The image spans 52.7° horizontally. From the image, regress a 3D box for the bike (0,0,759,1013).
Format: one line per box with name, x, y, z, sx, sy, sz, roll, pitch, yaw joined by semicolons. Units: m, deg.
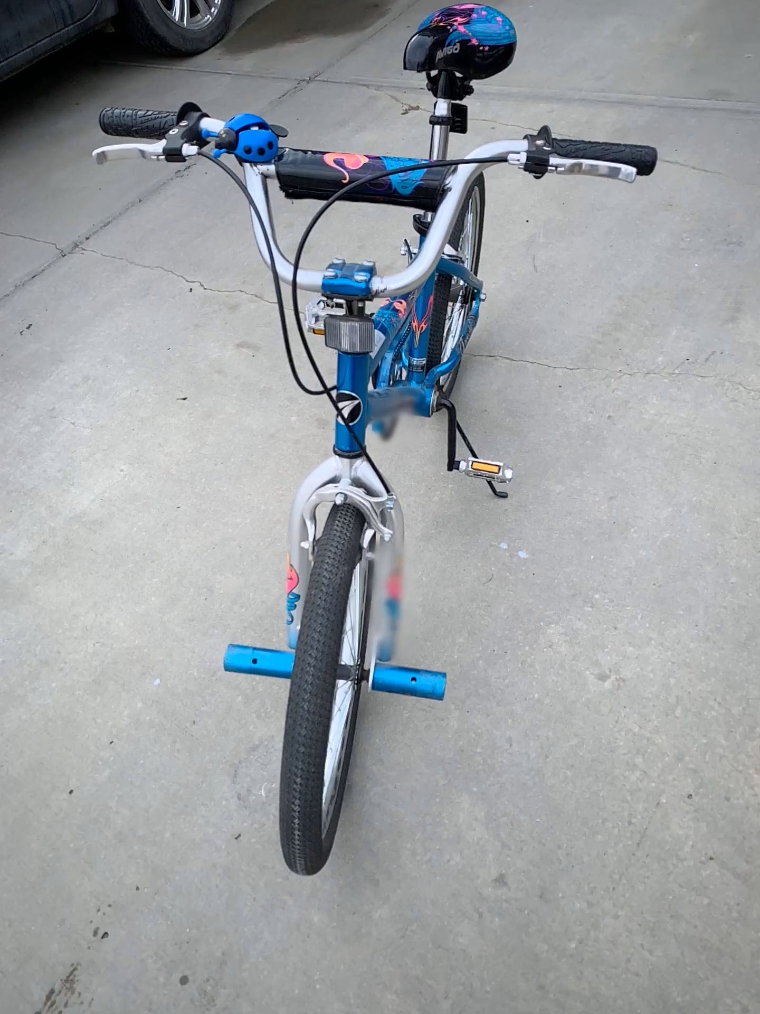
bike;0.126;-0.224;1.159;0.681;0.837;1.391;3;46;14
